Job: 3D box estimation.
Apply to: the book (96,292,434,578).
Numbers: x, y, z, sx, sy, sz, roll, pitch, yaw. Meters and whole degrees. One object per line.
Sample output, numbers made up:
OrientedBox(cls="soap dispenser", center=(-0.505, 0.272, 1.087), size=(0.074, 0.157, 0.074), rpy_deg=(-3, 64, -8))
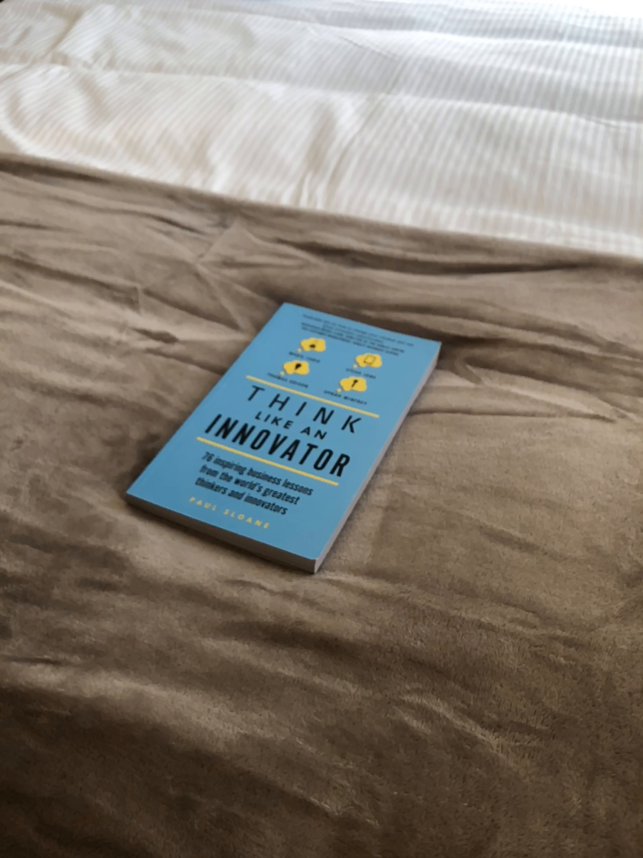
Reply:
OrientedBox(cls="book", center=(-0.027, -0.013, 0.490), size=(0.140, 0.020, 0.221), rpy_deg=(16, 48, 21))
